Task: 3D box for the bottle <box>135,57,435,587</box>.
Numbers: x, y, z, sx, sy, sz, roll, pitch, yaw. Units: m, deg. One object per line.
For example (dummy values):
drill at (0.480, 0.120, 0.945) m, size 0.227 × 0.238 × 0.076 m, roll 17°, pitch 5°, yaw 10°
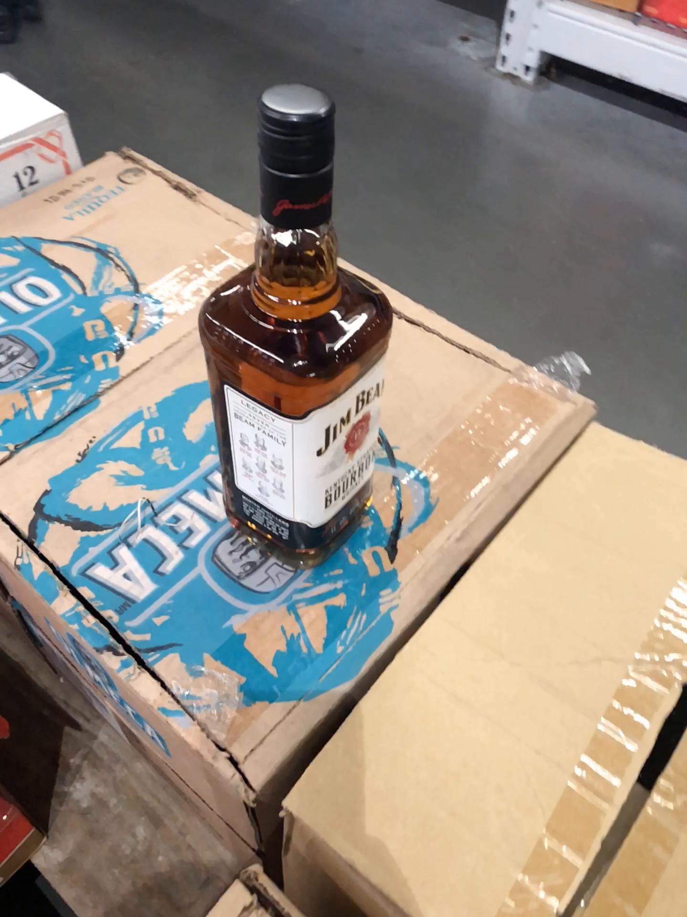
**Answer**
bottle at (-0.025, -0.051, 0.406) m, size 0.081 × 0.263 × 0.091 m, roll 32°, pitch 57°, yaw 22°
